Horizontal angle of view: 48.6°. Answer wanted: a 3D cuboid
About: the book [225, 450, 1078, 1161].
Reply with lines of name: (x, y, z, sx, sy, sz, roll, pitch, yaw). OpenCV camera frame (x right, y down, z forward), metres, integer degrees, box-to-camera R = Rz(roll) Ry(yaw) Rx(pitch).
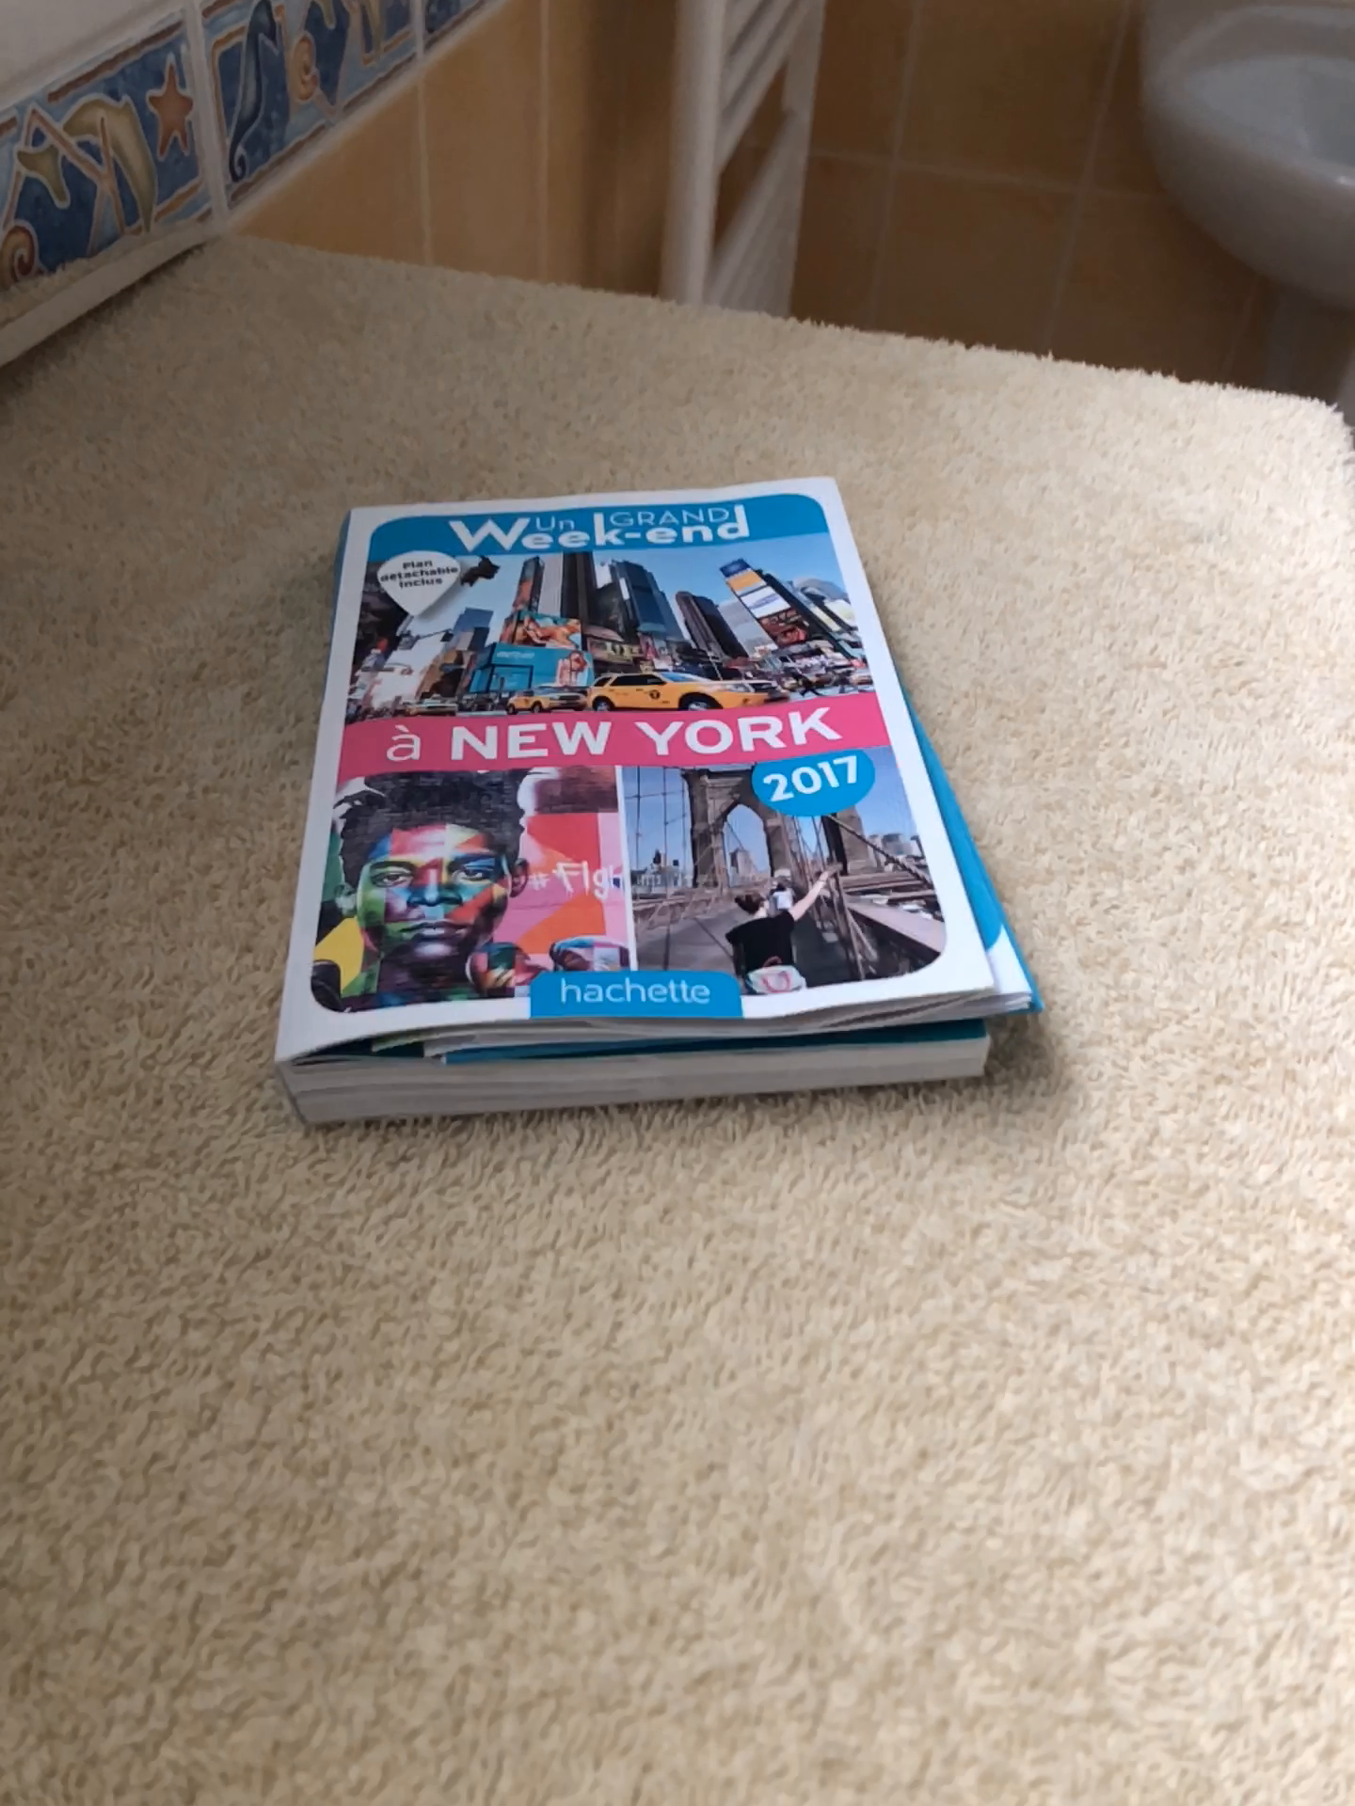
book: (-0.010, -0.030, 0.275, 0.120, 0.020, 0.161, -6, 44, -2)
